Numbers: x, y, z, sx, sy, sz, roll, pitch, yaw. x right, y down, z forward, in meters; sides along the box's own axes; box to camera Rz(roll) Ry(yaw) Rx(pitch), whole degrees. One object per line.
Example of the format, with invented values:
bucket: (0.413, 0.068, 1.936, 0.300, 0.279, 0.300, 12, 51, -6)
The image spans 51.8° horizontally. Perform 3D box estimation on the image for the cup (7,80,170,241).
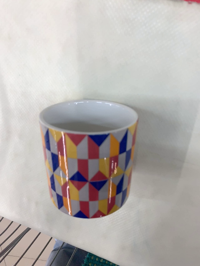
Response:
cup: (-0.012, 0.009, 0.178, 0.100, 0.080, 0.080, 26, 126, 39)
